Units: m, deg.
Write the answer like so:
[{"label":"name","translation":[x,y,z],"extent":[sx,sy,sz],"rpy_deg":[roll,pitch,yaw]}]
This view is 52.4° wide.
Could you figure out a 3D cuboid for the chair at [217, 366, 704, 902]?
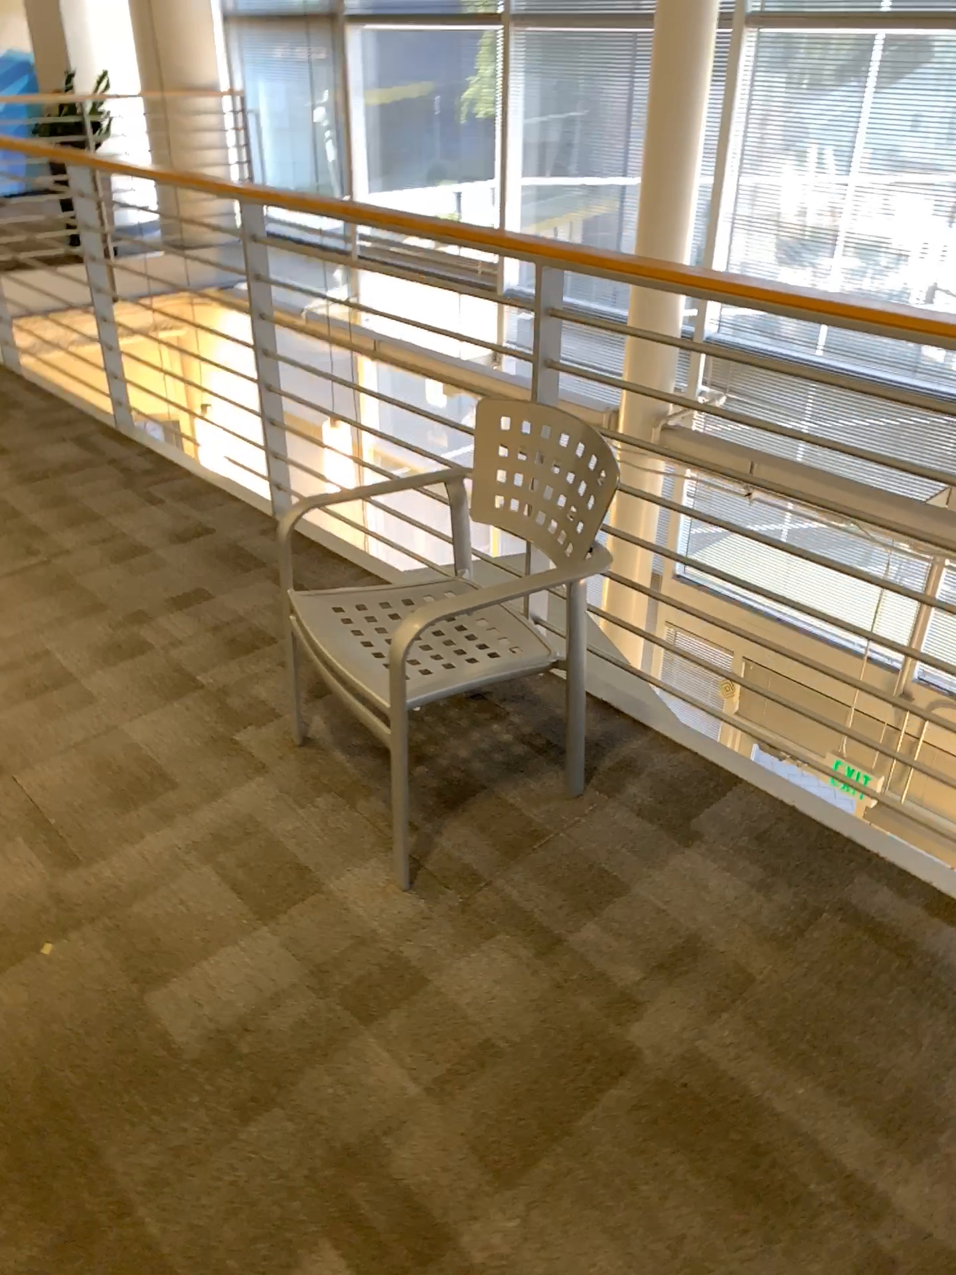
[{"label":"chair","translation":[-0.060,-0.061,2.079],"extent":[0.680,0.756,0.684],"rpy_deg":[-19,38,-29]}]
